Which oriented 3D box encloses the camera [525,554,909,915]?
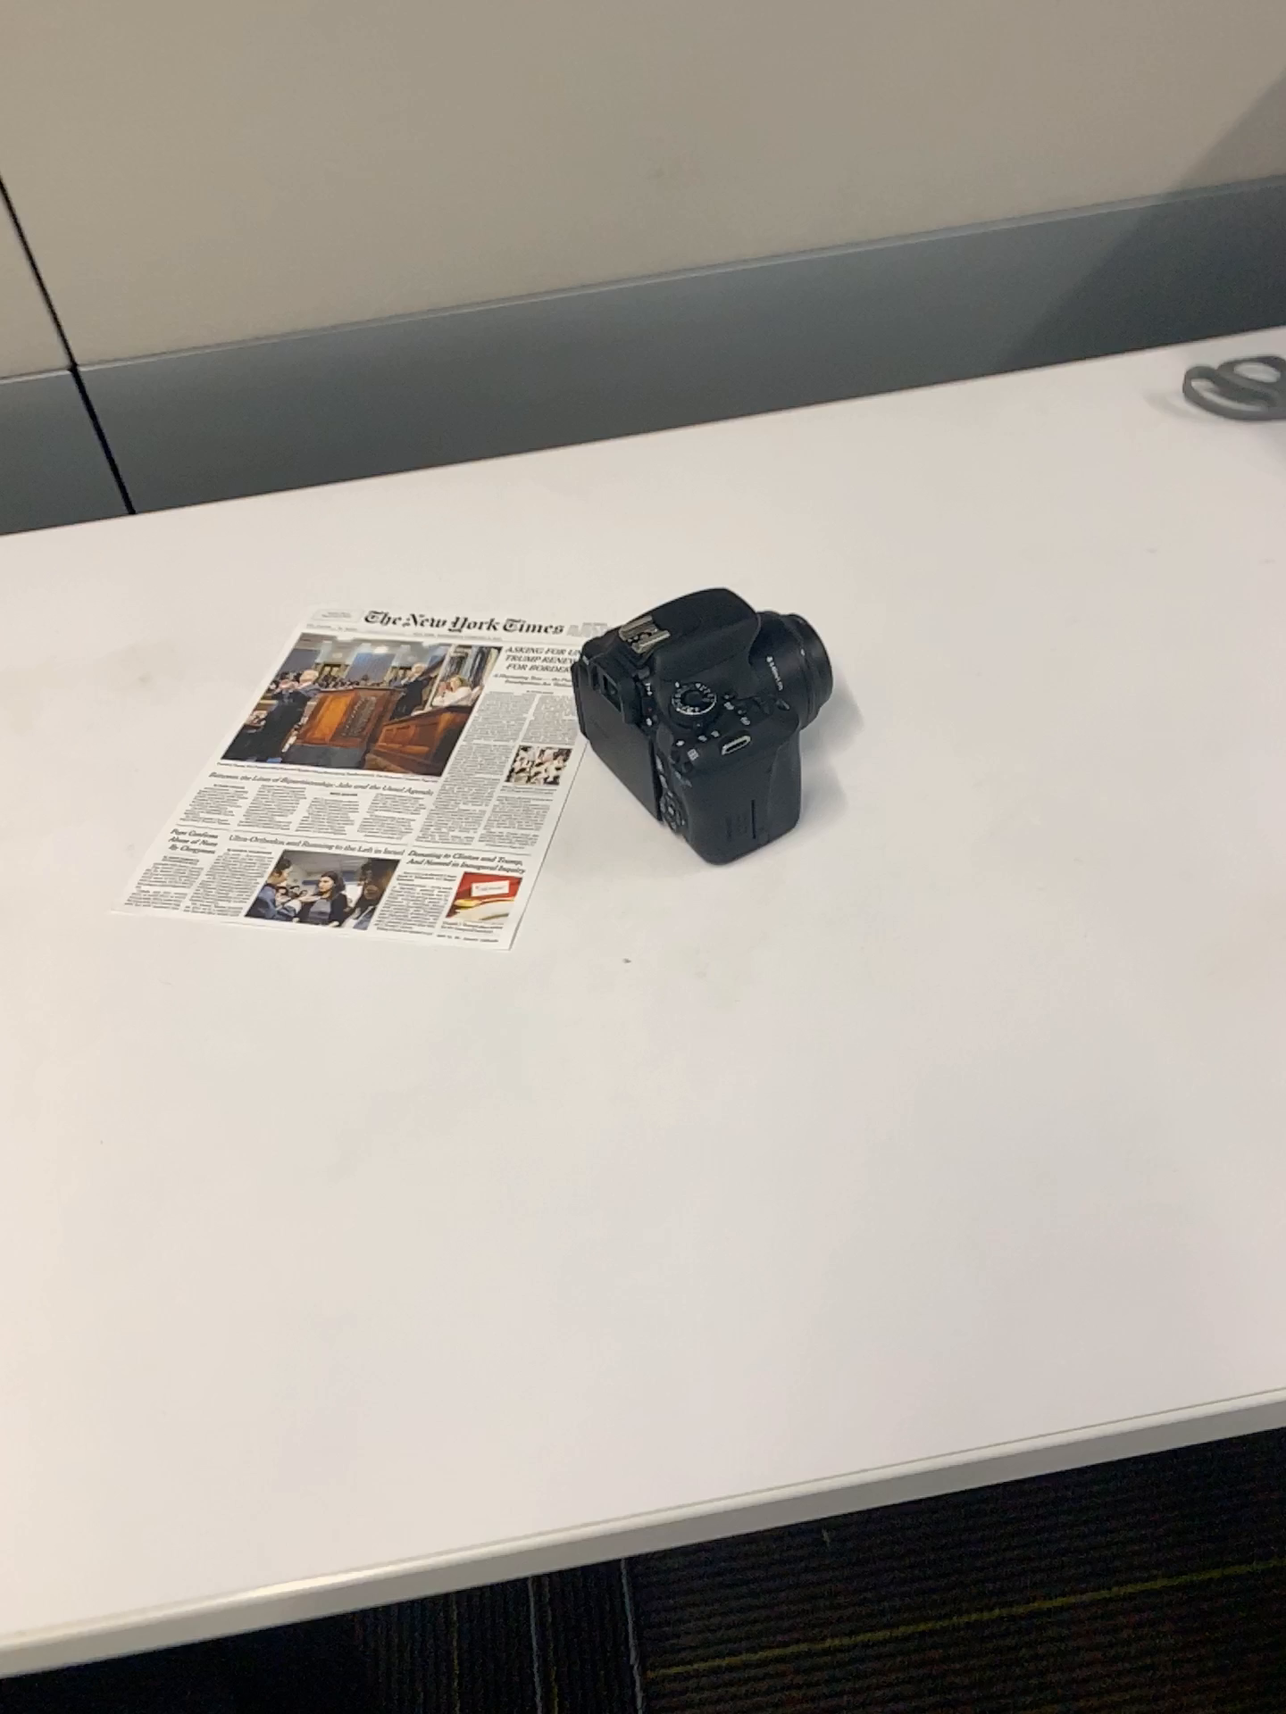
[{"bbox_3d":[0.038,-0.072,0.709,0.136,0.084,0.152,-28,47,-19],"label":"camera"}]
